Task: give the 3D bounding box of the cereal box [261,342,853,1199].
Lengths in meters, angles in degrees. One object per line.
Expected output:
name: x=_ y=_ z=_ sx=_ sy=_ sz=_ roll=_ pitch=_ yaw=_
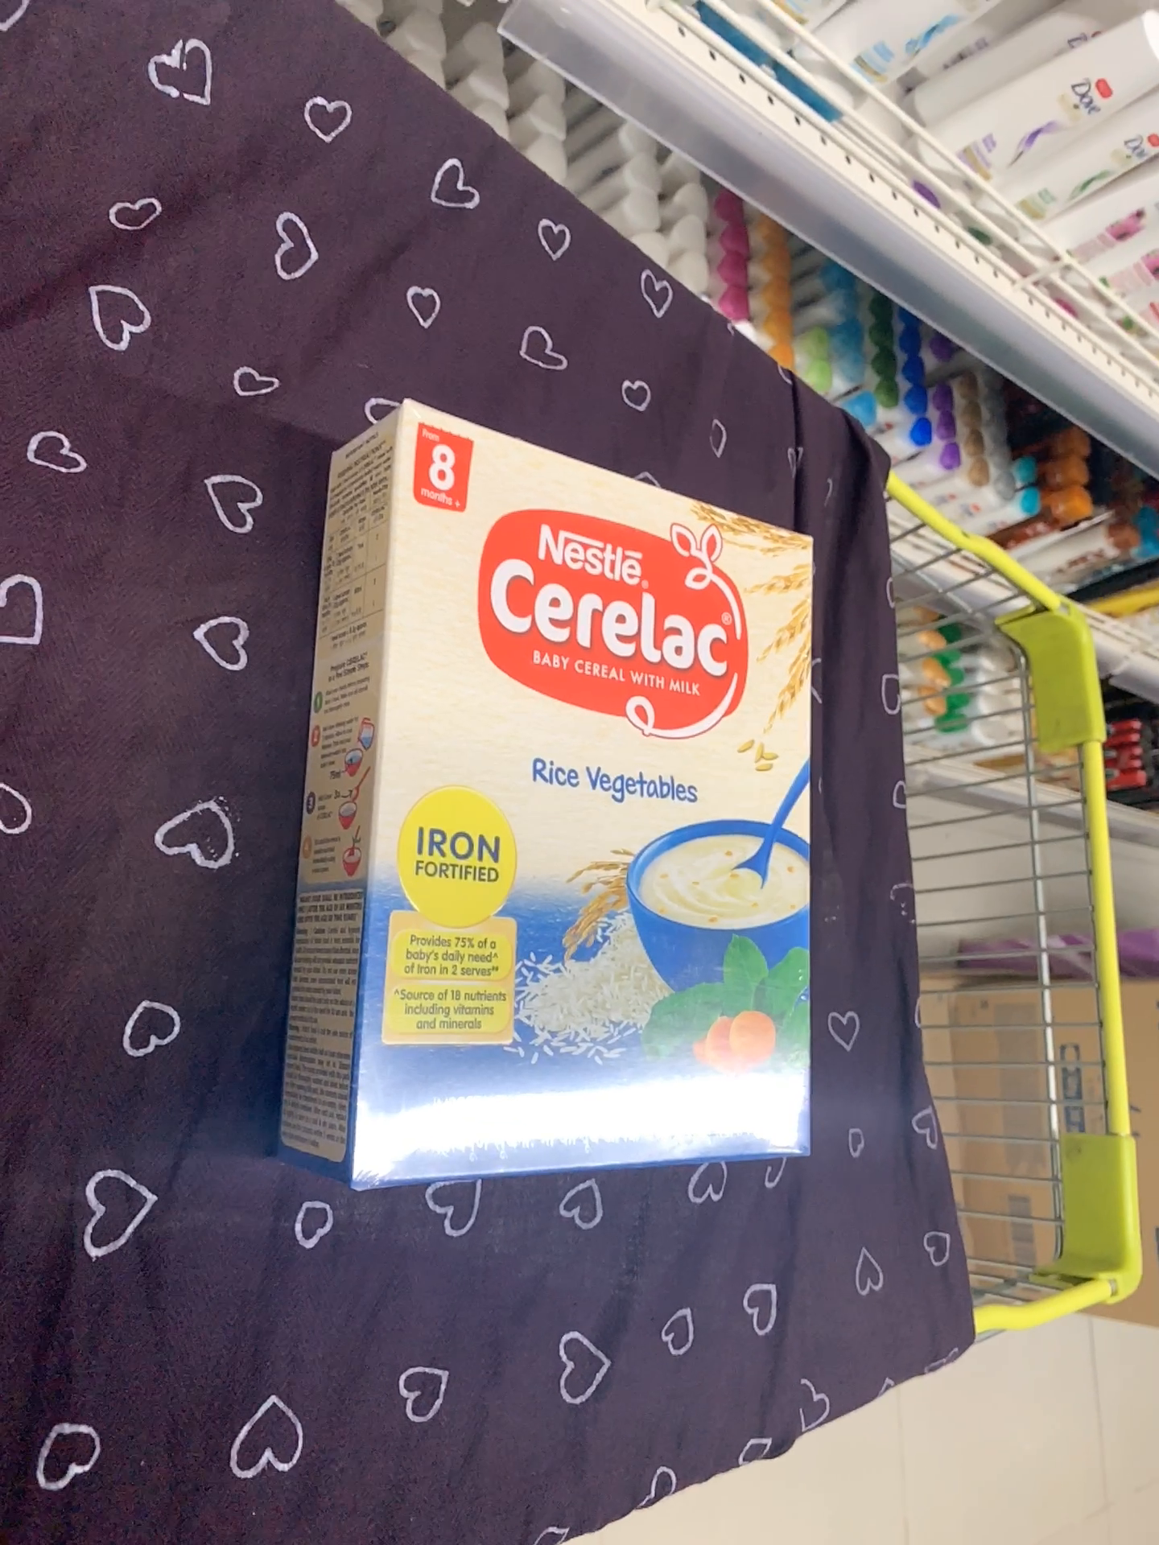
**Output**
cereal box: x=0.003 y=0.007 z=0.324 sx=0.151 sy=0.050 sz=0.190 roll=10 pitch=76 yaw=-36
